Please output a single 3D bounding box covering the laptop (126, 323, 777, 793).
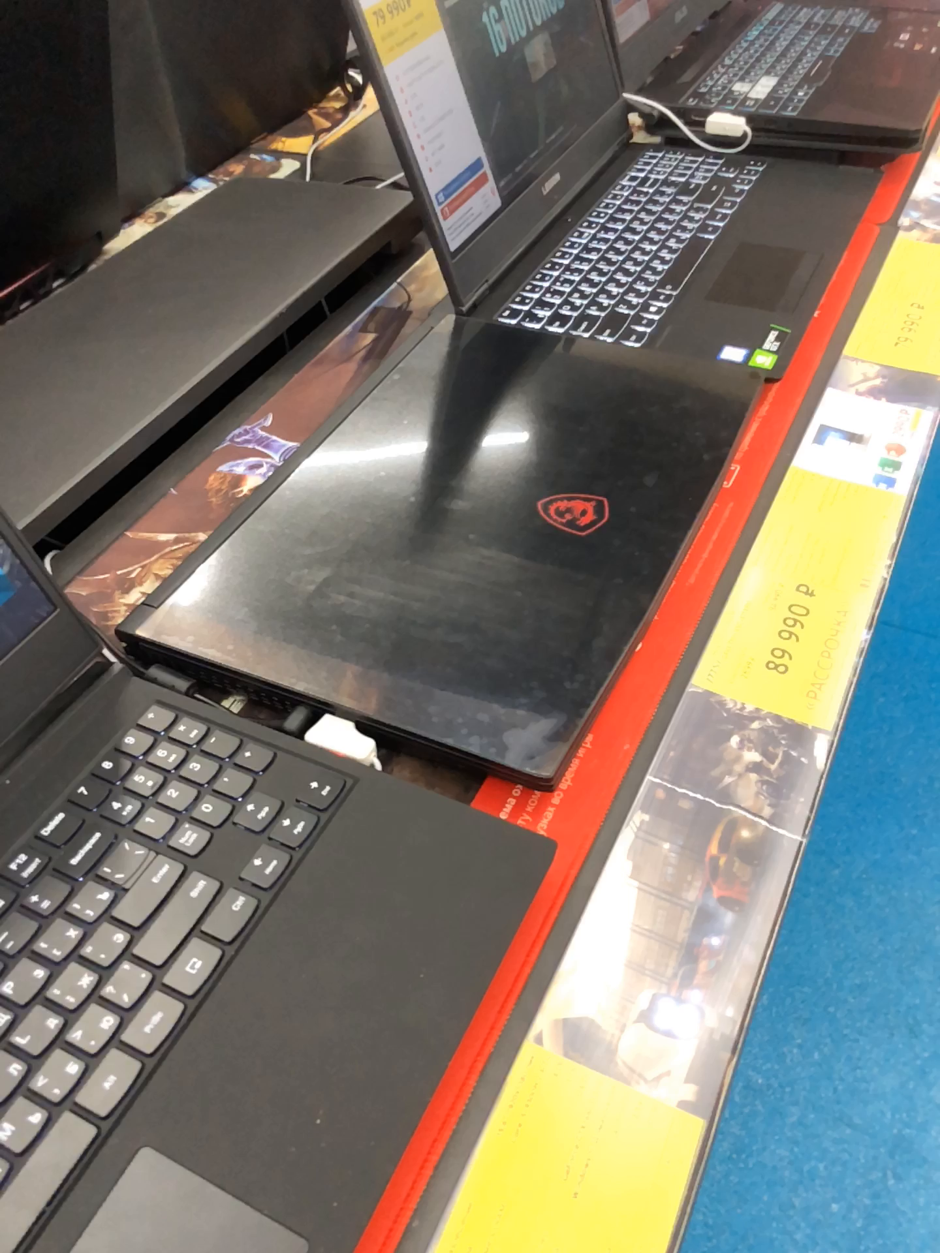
[{"bbox_3d":[0.010,-0.074,0.596,0.239,0.002,0.354,16,49,21],"label":"laptop"}]
